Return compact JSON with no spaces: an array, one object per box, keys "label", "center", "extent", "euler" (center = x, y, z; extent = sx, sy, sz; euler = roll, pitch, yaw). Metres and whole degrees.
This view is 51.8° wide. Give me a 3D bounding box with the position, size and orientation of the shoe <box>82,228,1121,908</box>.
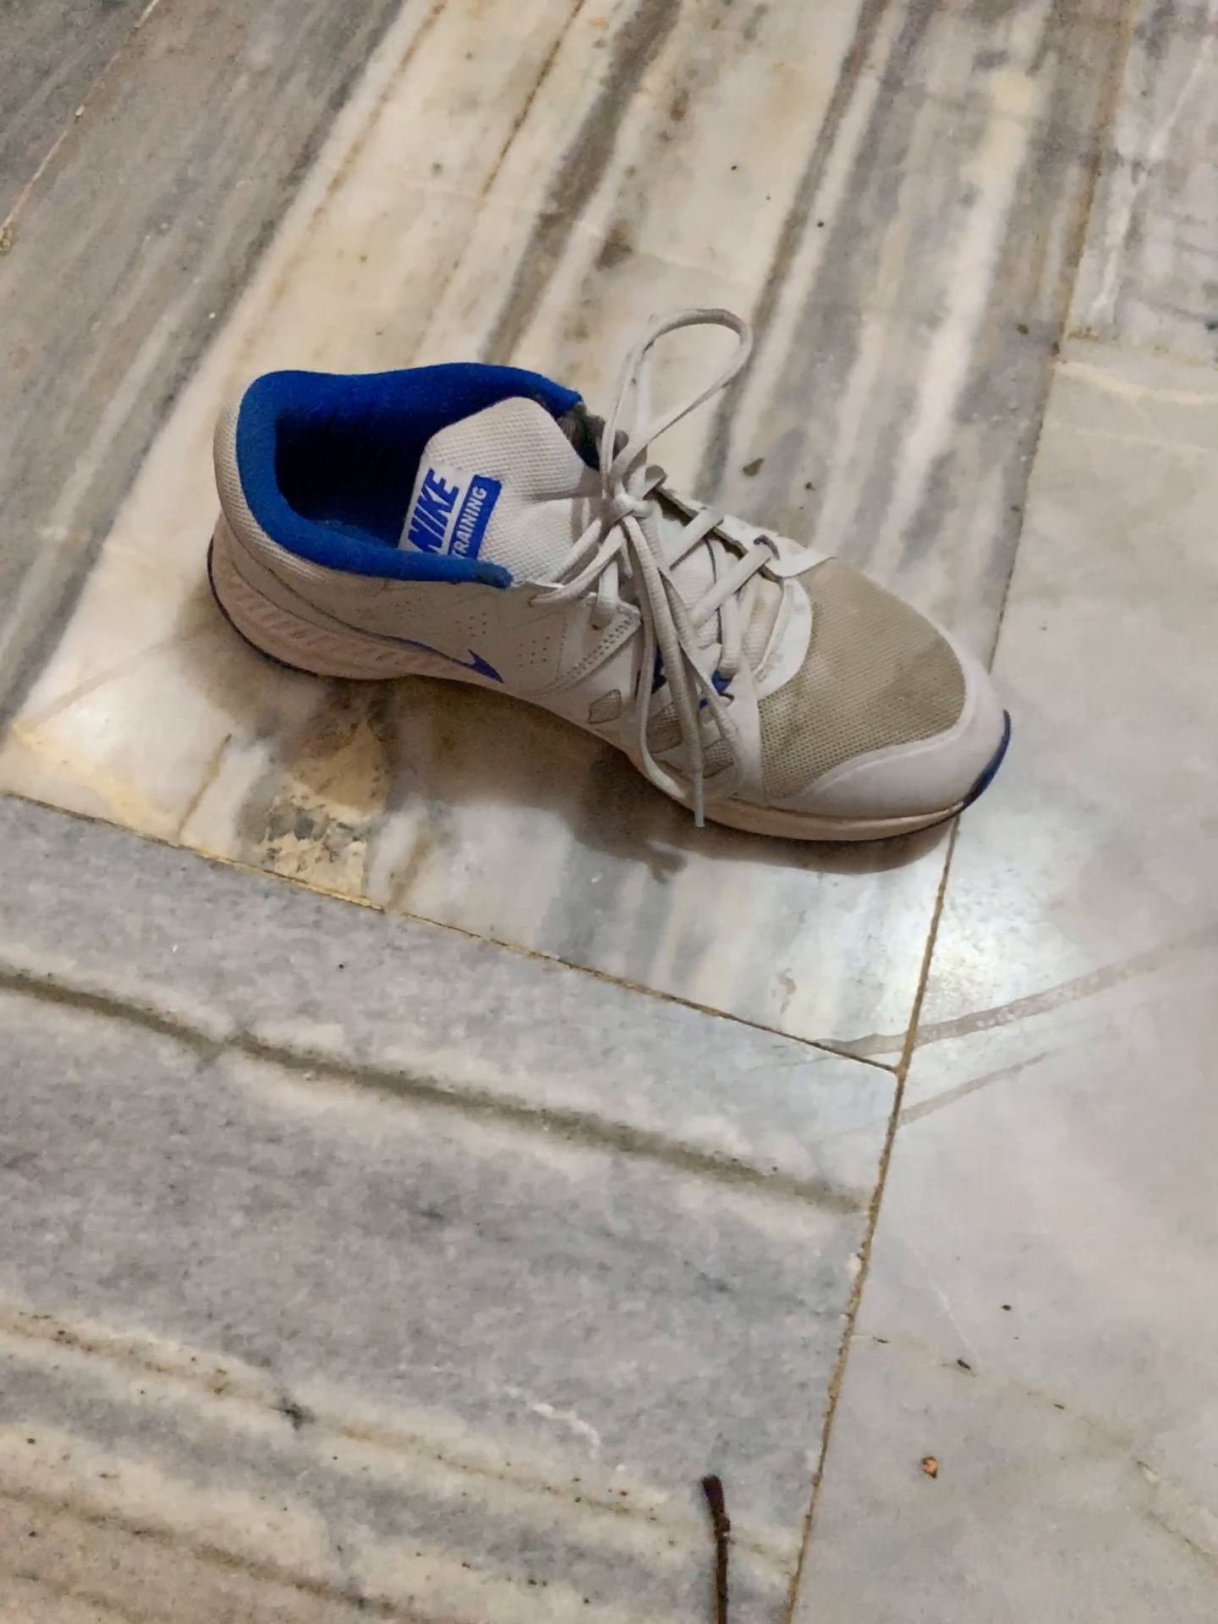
[{"label":"shoe","center":[-0.001,-0.082,0.434],"extent":[0.300,0.100,0.116],"euler":[18,68,6]}]
